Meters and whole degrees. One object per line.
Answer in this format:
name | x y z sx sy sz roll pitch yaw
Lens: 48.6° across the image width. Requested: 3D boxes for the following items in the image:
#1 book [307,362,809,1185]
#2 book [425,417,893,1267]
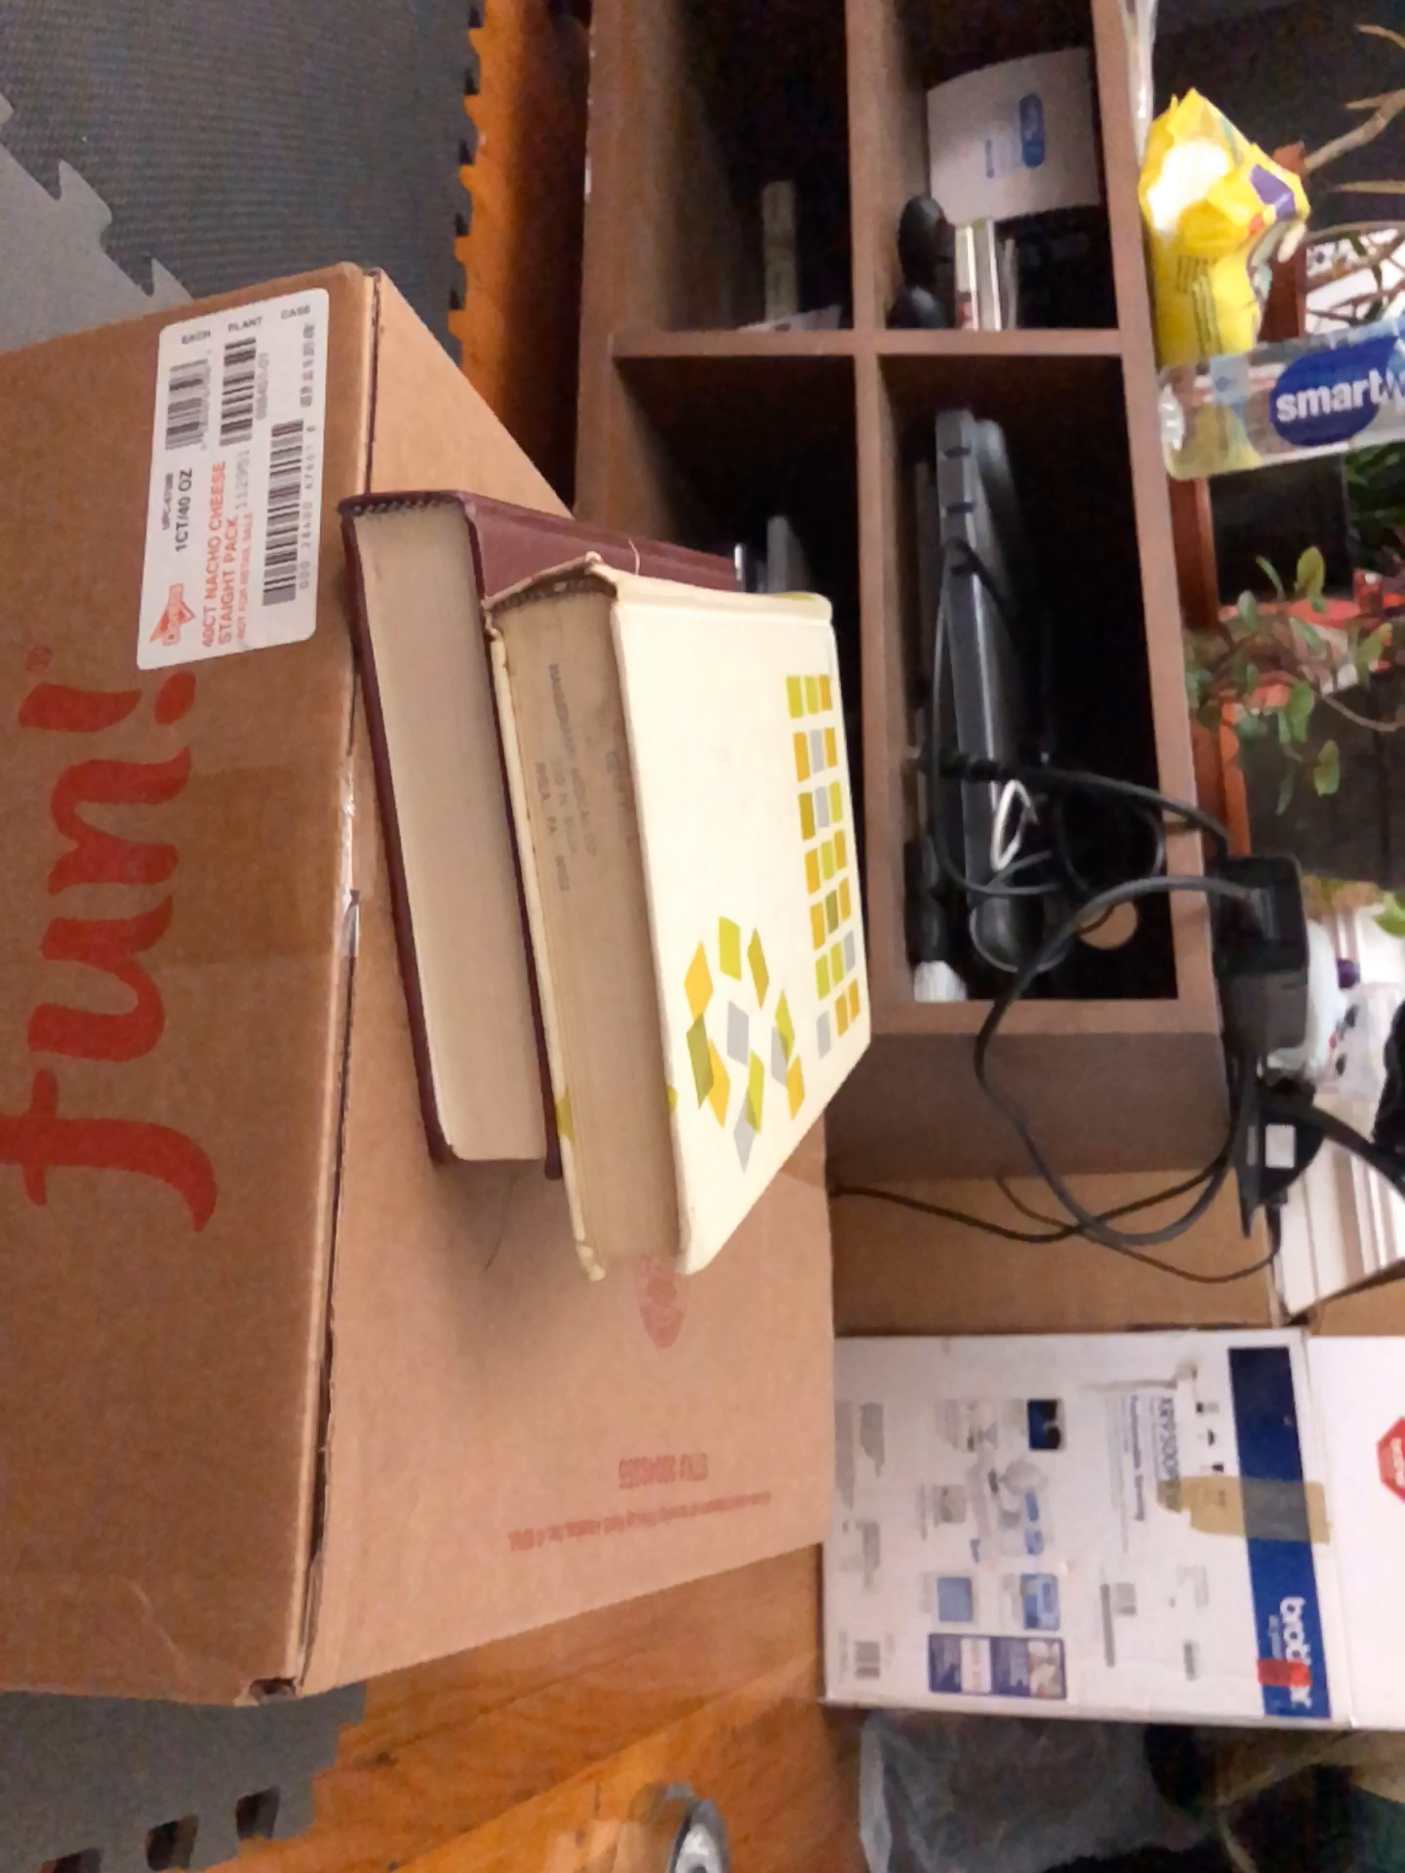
book | -0.024 -0.049 0.469 0.251 0.040 0.180 -27 110 -73
book | 0.007 -0.038 0.453 0.251 0.040 0.180 -36 118 -72
